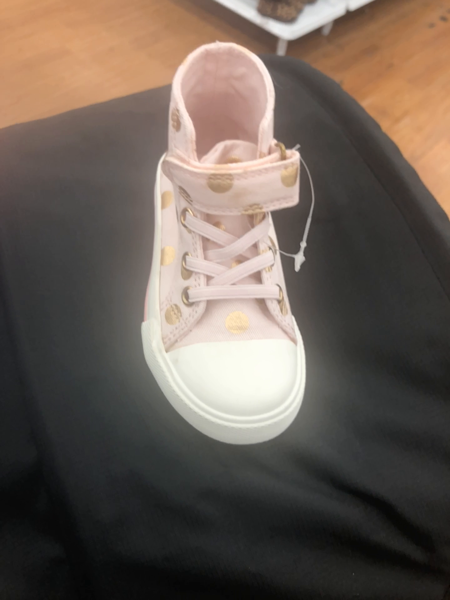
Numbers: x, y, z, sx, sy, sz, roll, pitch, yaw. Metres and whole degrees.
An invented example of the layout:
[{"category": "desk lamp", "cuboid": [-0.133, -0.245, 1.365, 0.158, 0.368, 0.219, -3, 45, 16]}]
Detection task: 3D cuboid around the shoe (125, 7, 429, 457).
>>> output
[{"category": "shoe", "cuboid": [0.001, -0.035, 0.226, 0.080, 0.100, 0.170, -3, 55, -10]}]
